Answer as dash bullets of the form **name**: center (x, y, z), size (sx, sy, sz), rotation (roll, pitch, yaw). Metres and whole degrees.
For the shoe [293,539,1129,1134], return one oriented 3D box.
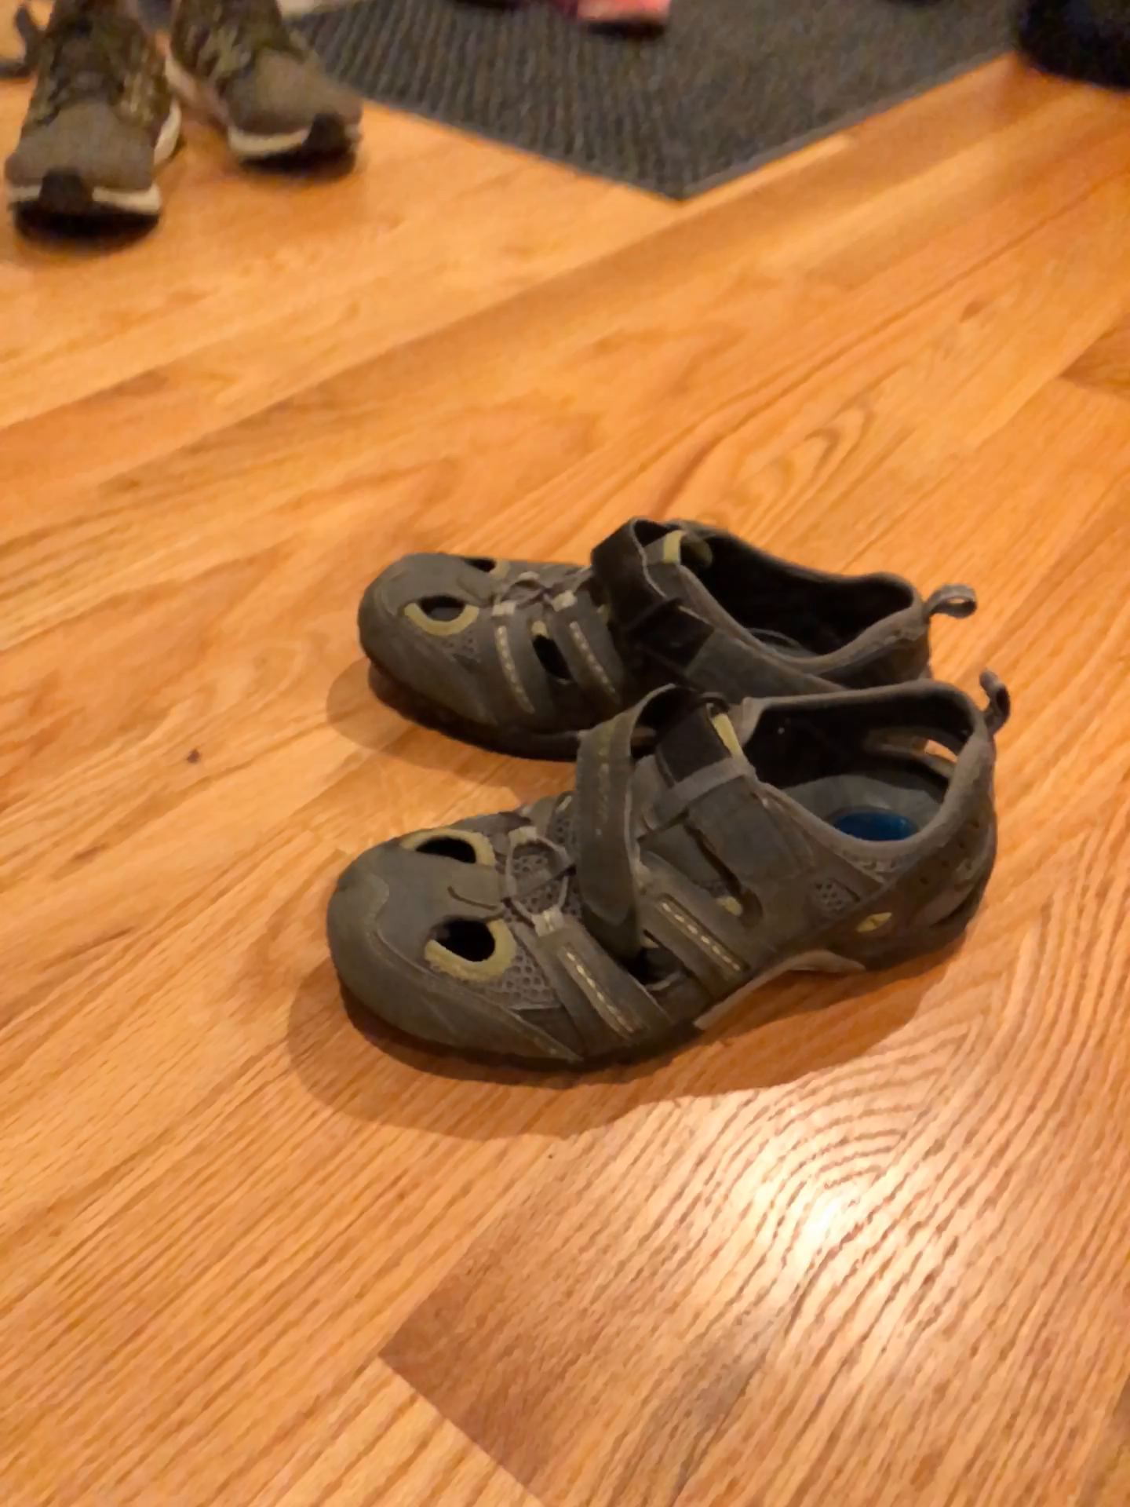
- **shoe**: center (0.048, 0.020, 0.406), size (0.245, 0.112, 0.101), rotation (-10, 44, -15)

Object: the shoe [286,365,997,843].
- **shoe**: center (0.029, -0.062, 0.498), size (0.245, 0.112, 0.101), rotation (11, 42, 7)
